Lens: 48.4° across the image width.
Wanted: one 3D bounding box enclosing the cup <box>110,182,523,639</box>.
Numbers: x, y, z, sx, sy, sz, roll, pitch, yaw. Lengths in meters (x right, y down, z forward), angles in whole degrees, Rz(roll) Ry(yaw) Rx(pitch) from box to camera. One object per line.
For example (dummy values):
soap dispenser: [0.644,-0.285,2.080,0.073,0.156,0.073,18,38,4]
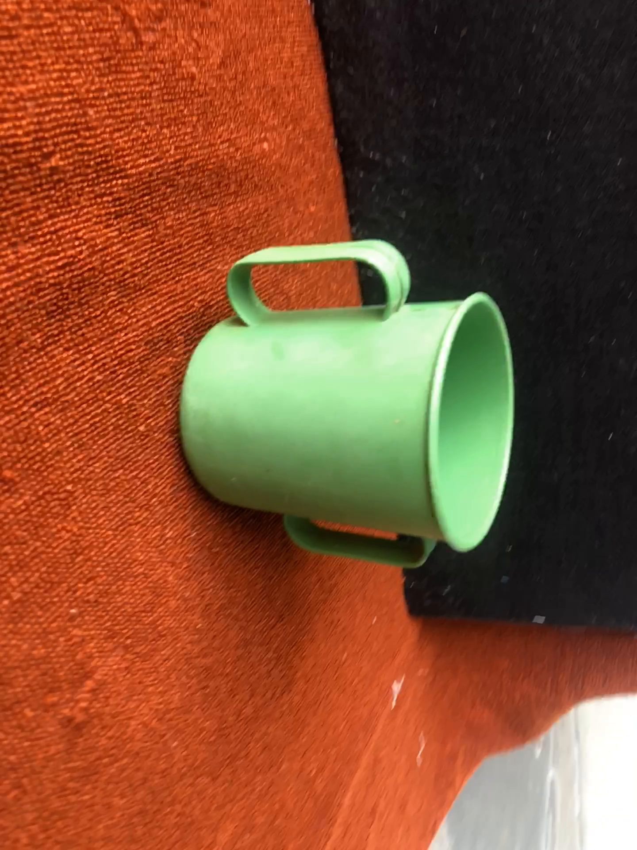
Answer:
cup: [0.010,-0.008,0.216,0.080,0.079,0.100,-52,137,-47]
